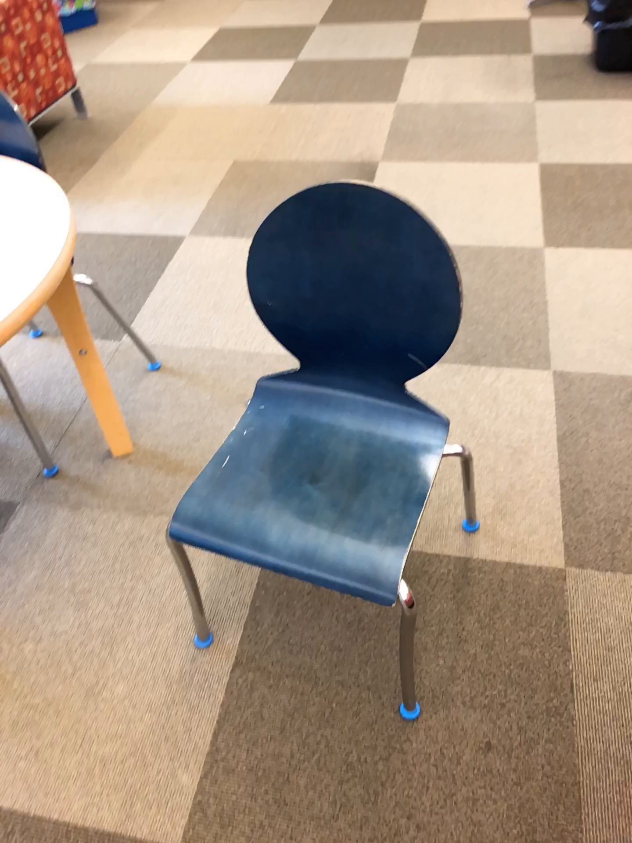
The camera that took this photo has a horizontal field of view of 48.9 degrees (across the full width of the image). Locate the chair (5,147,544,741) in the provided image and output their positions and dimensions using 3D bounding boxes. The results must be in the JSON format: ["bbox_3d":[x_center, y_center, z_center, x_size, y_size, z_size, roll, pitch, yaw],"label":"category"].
[{"bbox_3d":[0.006,0.040,1.074,0.497,0.699,0.475,13,47,18],"label":"chair"}]
